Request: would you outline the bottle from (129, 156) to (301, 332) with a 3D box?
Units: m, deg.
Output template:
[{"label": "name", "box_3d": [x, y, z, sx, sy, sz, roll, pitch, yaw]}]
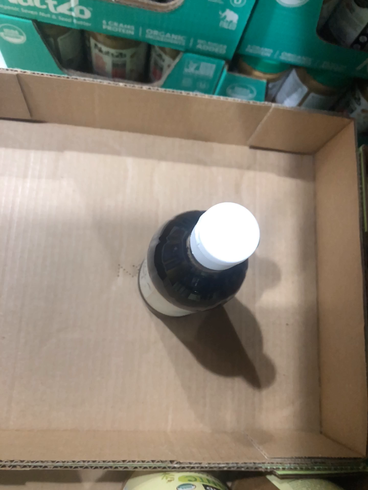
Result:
[{"label": "bottle", "box_3d": [0.004, 0.019, 0.290, 0.070, 0.200, 0.070, 2, 77, -9]}]
